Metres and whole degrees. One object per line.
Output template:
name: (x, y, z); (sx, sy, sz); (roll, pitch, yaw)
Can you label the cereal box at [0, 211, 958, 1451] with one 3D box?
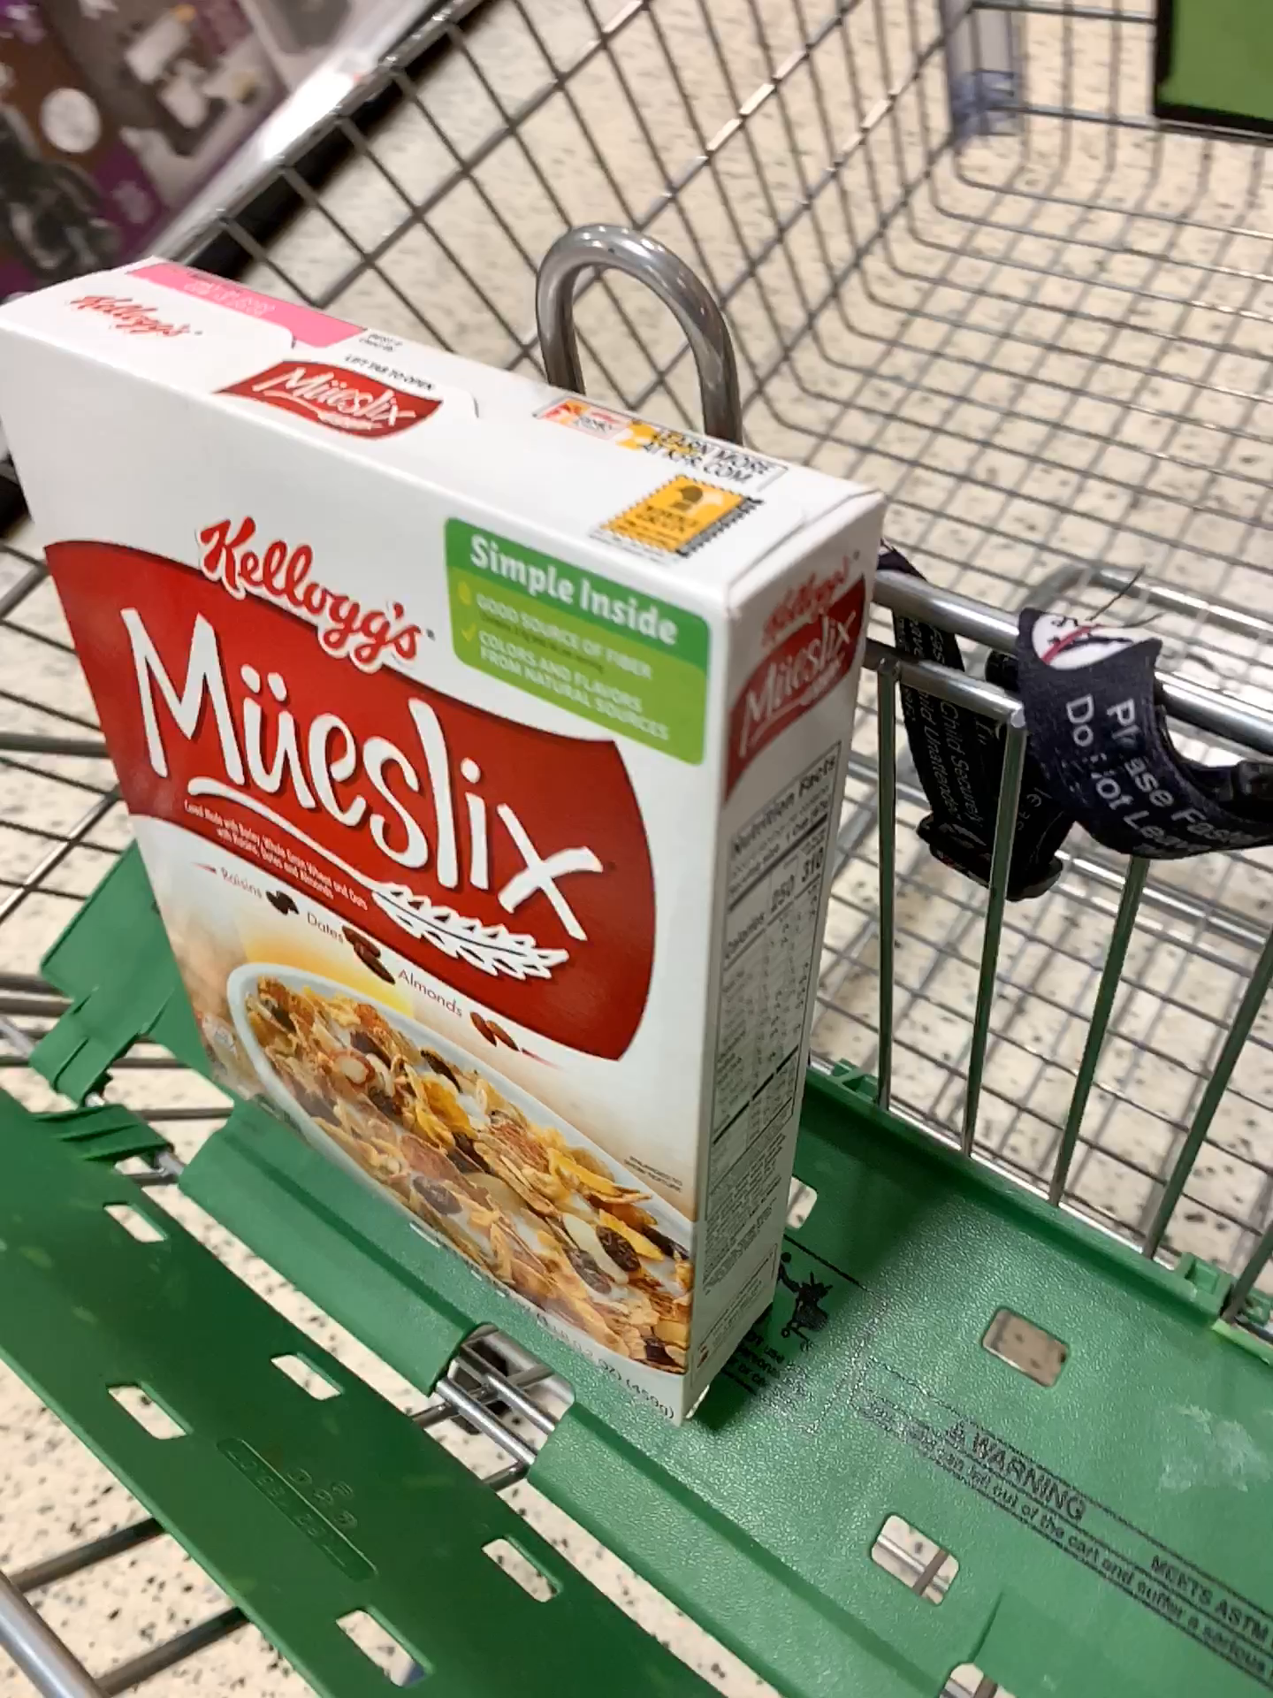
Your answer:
cereal box: (-0.045, 0.007, 0.336); (0.201, 0.268, 0.060); (27, 48, 27)
